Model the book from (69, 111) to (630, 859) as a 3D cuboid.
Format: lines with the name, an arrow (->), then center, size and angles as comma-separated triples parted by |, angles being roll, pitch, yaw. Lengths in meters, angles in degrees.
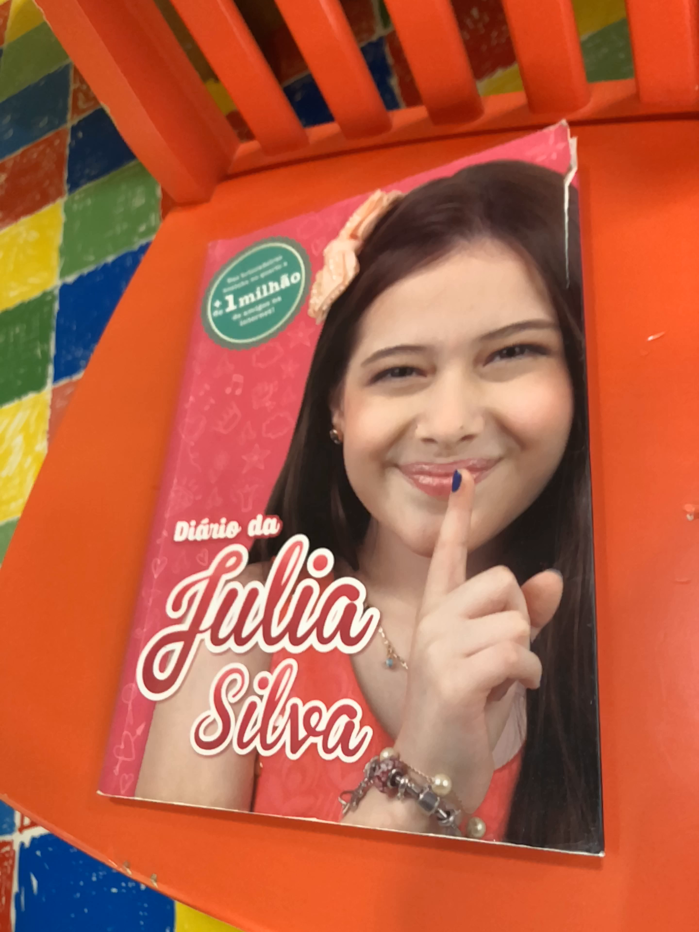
book -> 0.002, -0.007, 0.276 | 0.171, 0.020, 0.242 | -5, 64, 25
